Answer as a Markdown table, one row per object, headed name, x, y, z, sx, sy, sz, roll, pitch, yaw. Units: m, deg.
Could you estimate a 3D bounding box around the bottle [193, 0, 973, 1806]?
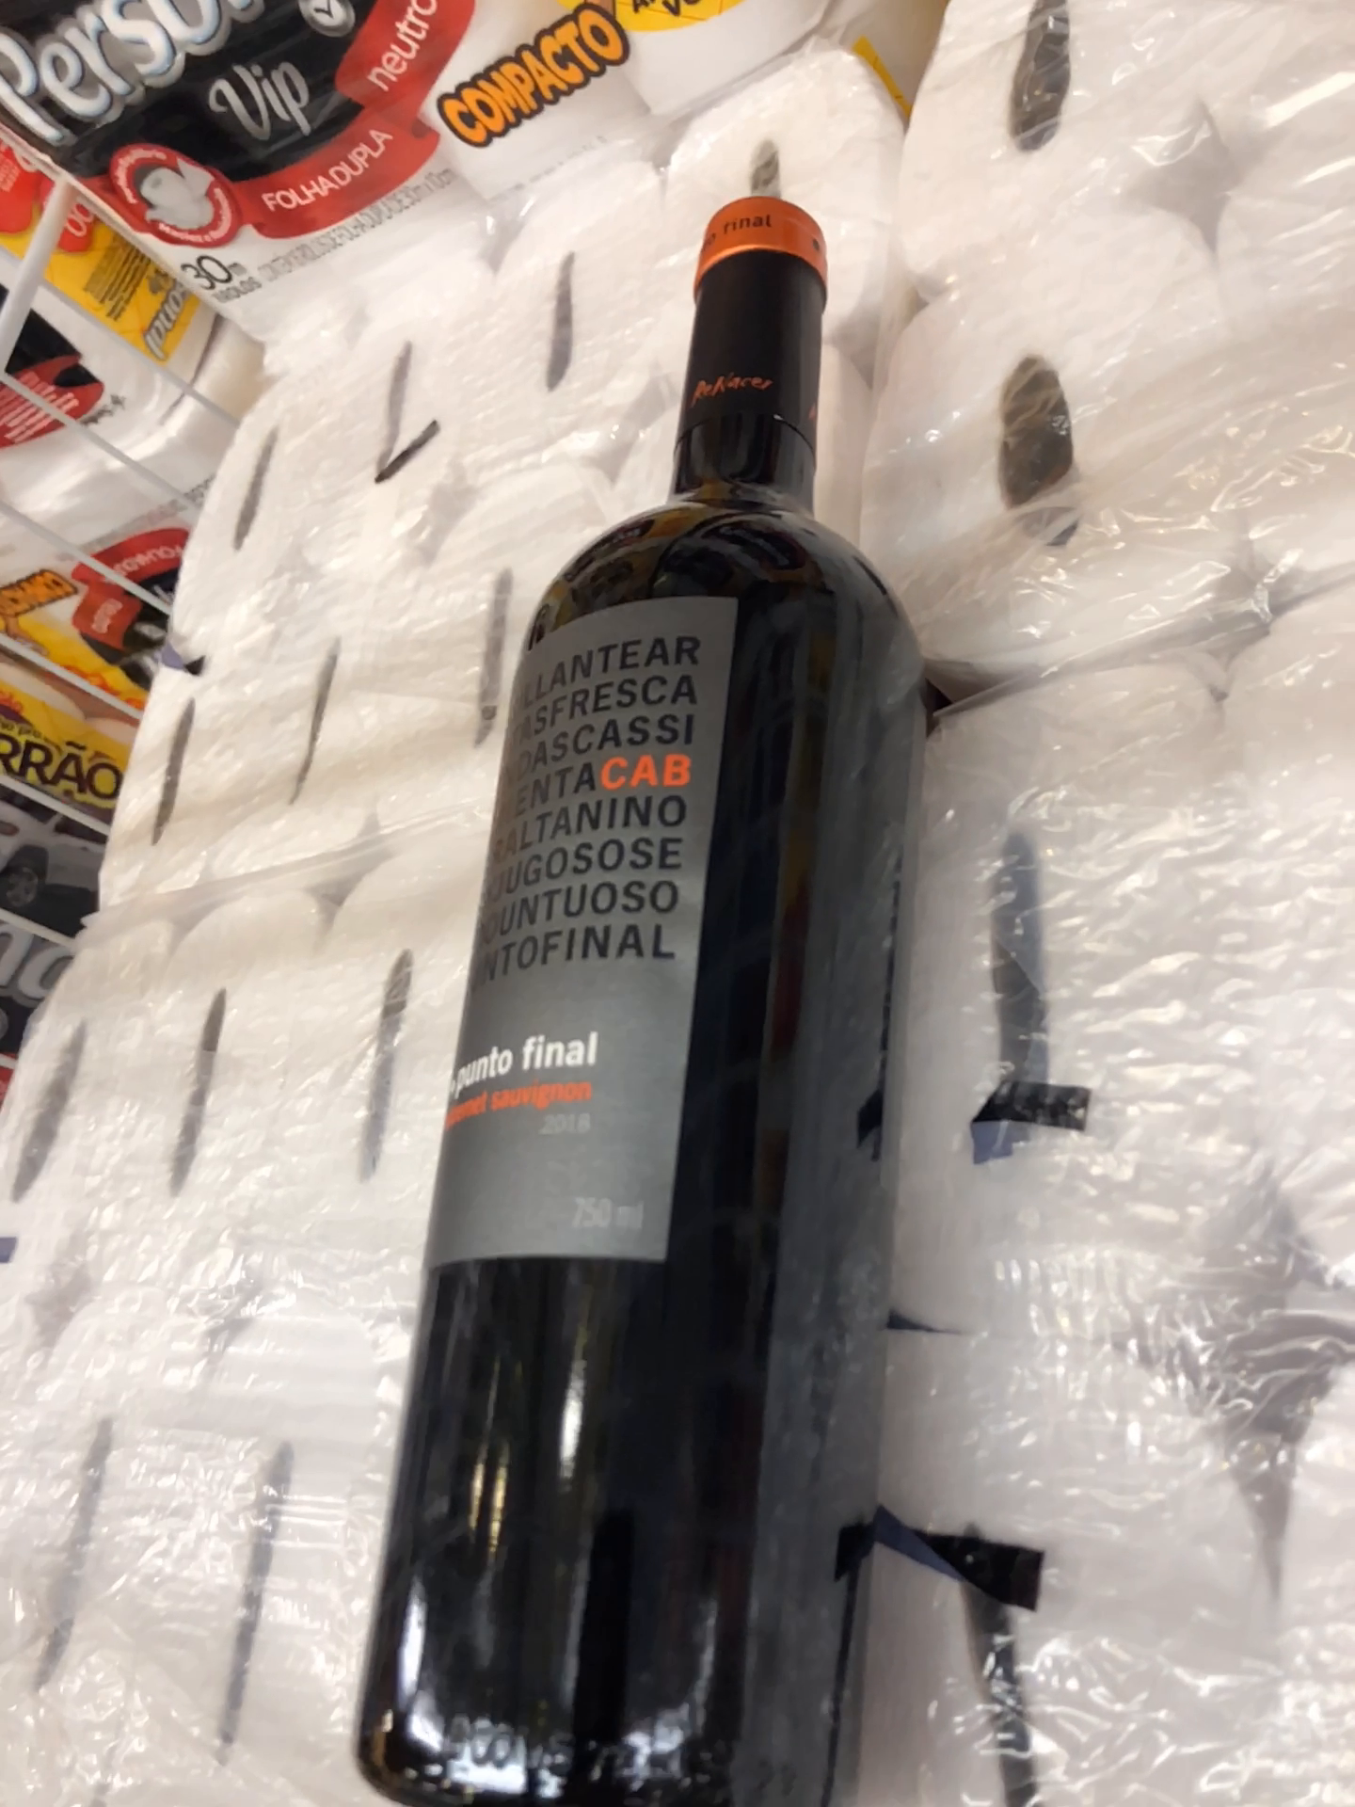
| name | x | y | z | sx | sy | sz | roll | pitch | yaw |
| --- | --- | --- | --- | --- | --- | --- | --- | --- | --- |
| bottle | 0.001 | -0.018 | 0.261 | 0.070 | 0.060 | 0.311 | -13 | 57 | 36 |
